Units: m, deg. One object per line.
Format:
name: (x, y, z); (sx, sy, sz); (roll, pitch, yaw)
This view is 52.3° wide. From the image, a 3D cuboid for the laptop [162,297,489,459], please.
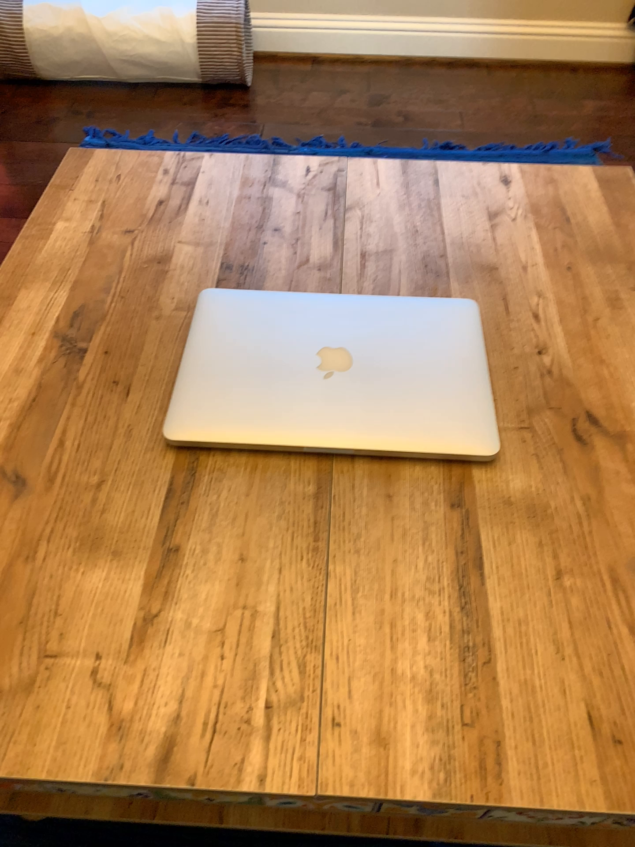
laptop: (0.012, -0.055, 0.655); (0.298, 0.002, 0.208); (2, 51, 2)
